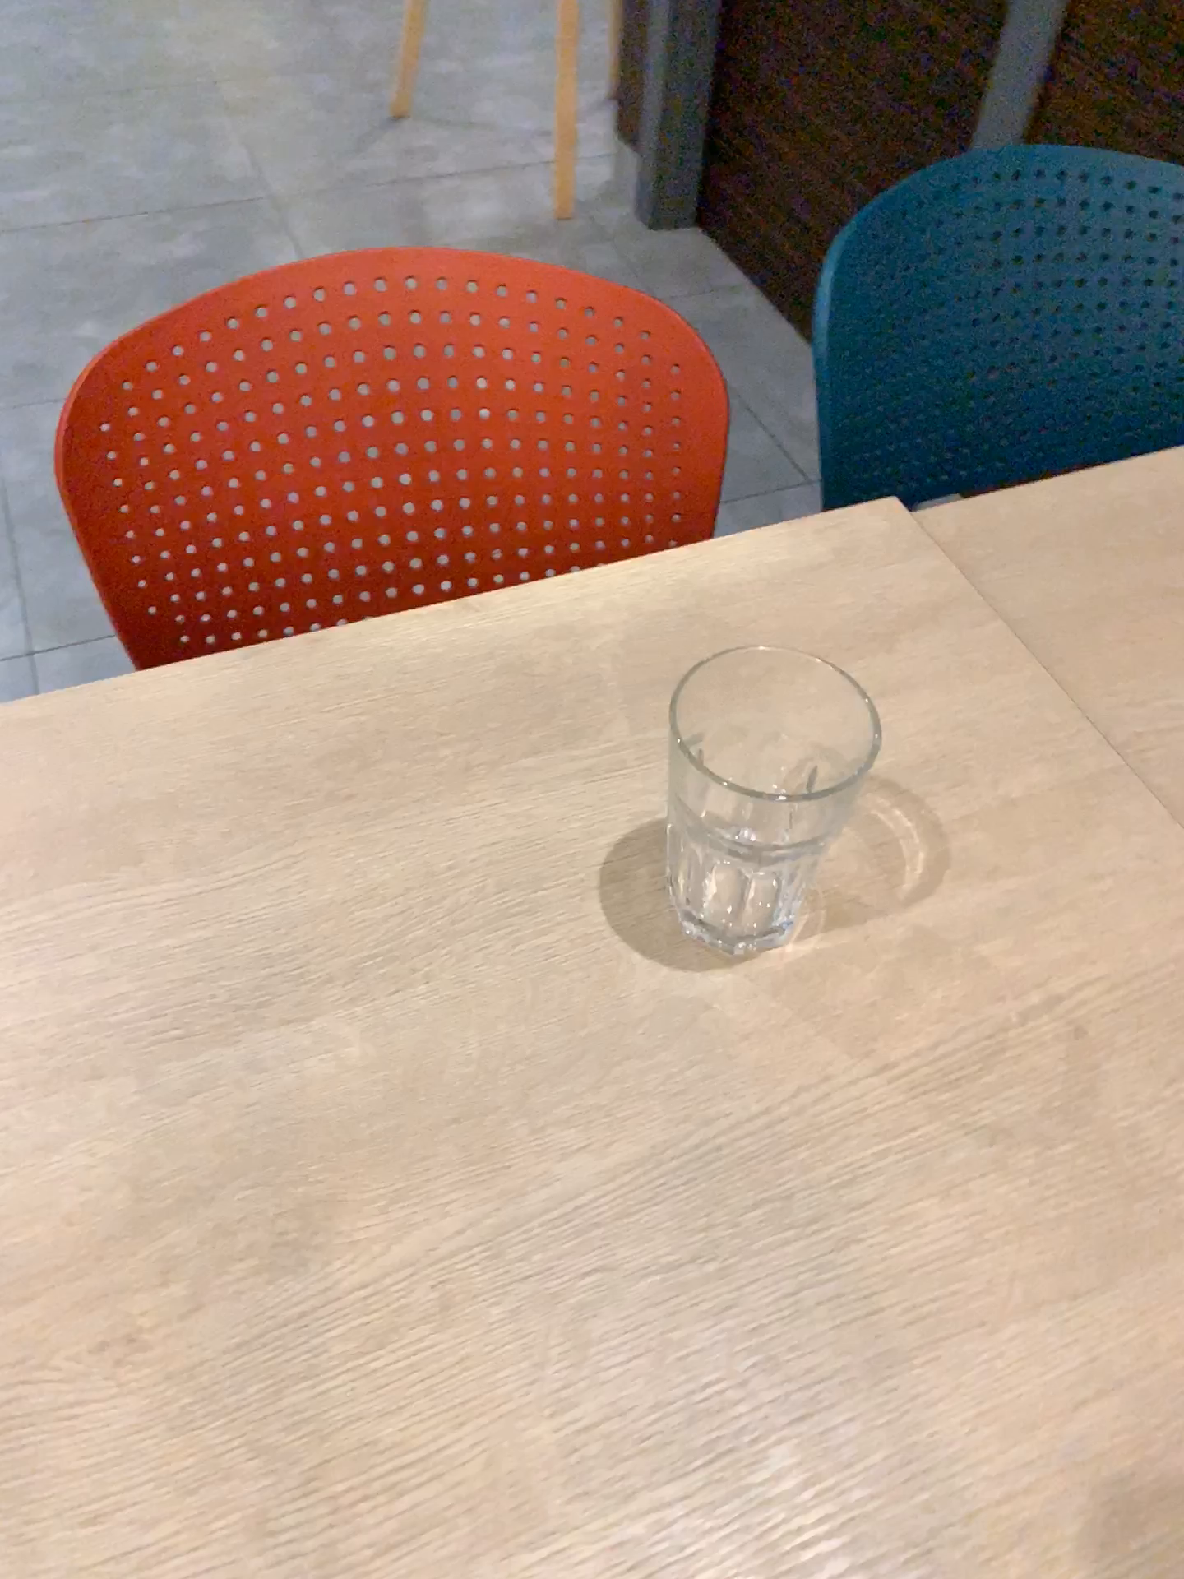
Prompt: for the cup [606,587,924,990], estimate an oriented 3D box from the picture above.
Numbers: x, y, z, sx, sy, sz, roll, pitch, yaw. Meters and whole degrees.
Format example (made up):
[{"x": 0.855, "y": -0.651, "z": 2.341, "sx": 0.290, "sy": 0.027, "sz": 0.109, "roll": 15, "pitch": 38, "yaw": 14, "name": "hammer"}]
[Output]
[{"x": 0.065, "y": 0.001, "z": 0.490, "sx": 0.080, "sy": 0.120, "sz": 0.080, "roll": 2, "pitch": 50, "yaw": -2, "name": "cup"}]
